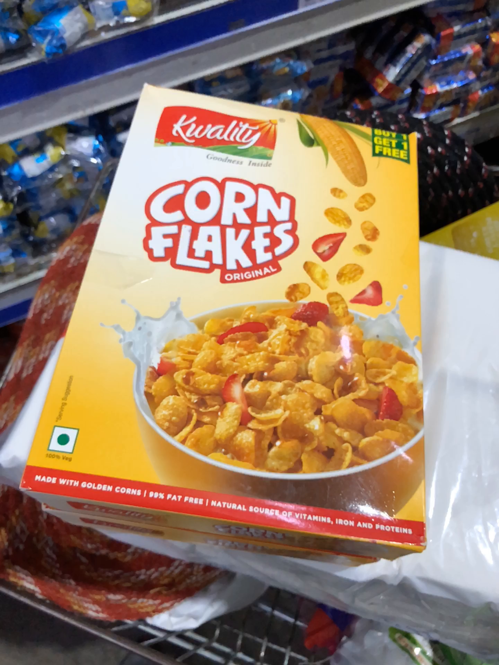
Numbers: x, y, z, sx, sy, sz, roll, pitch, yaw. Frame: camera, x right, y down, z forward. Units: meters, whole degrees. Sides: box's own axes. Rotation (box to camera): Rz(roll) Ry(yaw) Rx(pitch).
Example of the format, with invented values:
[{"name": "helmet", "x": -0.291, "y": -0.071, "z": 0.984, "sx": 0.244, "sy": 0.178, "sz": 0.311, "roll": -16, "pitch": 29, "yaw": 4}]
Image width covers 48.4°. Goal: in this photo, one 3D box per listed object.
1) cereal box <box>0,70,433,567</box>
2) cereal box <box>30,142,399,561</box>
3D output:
[{"name": "cereal box", "x": -0.002, "y": -0.019, "z": 0.319, "sx": 0.190, "sy": 0.060, "sz": 0.261, "roll": 8, "pitch": 65, "yaw": -2}, {"name": "cereal box", "x": -0.006, "y": 0.006, "z": 0.389, "sx": 0.200, "sy": 0.070, "sz": 0.261, "roll": 8, "pitch": 65, "yaw": -2}]
